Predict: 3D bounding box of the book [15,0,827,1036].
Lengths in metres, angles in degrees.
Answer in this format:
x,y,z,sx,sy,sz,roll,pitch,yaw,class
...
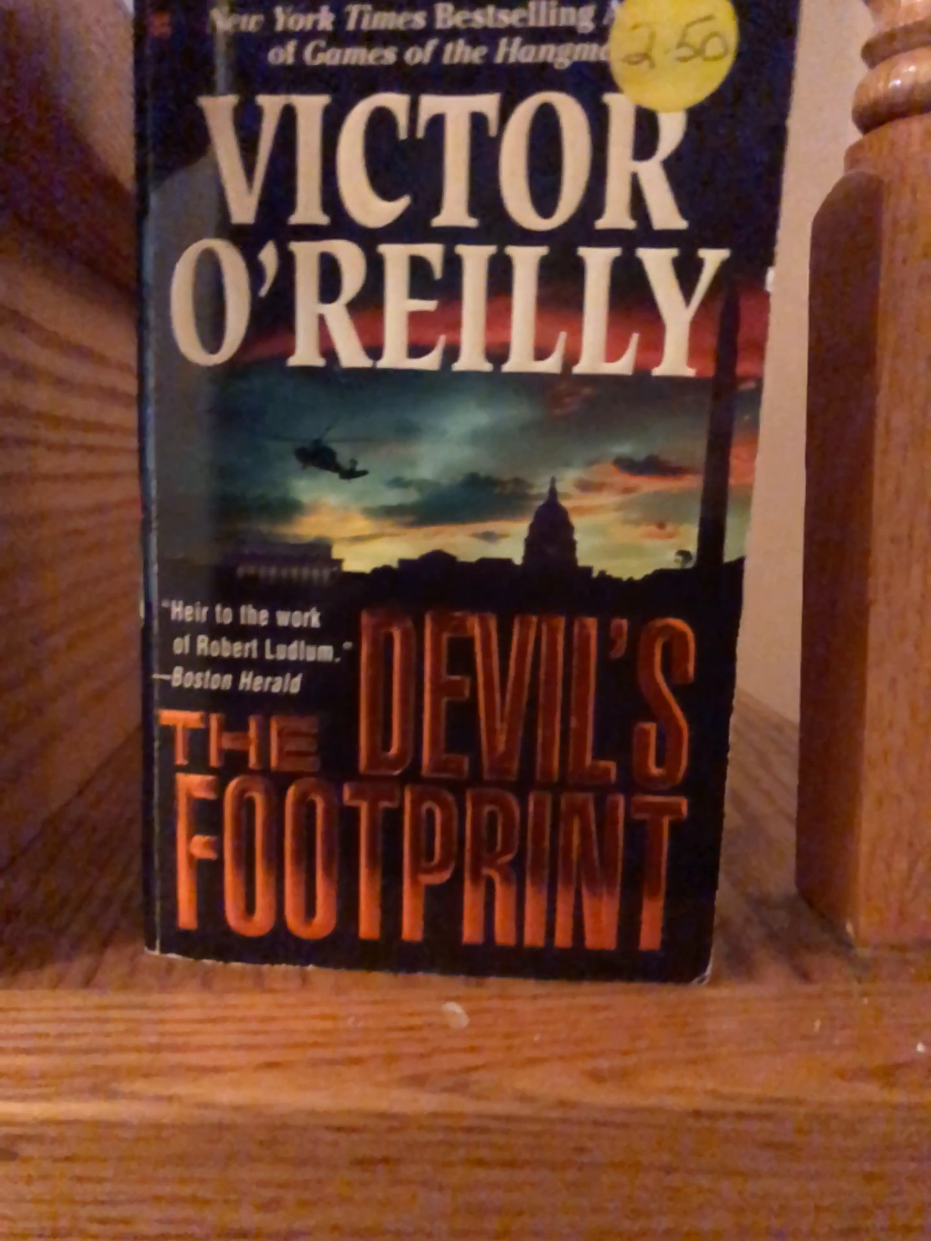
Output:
x,y,z,sx,sy,sz,roll,pitch,yaw,class
-0.007,-0.021,0.191,0.120,0.170,0.050,2,10,7,book
